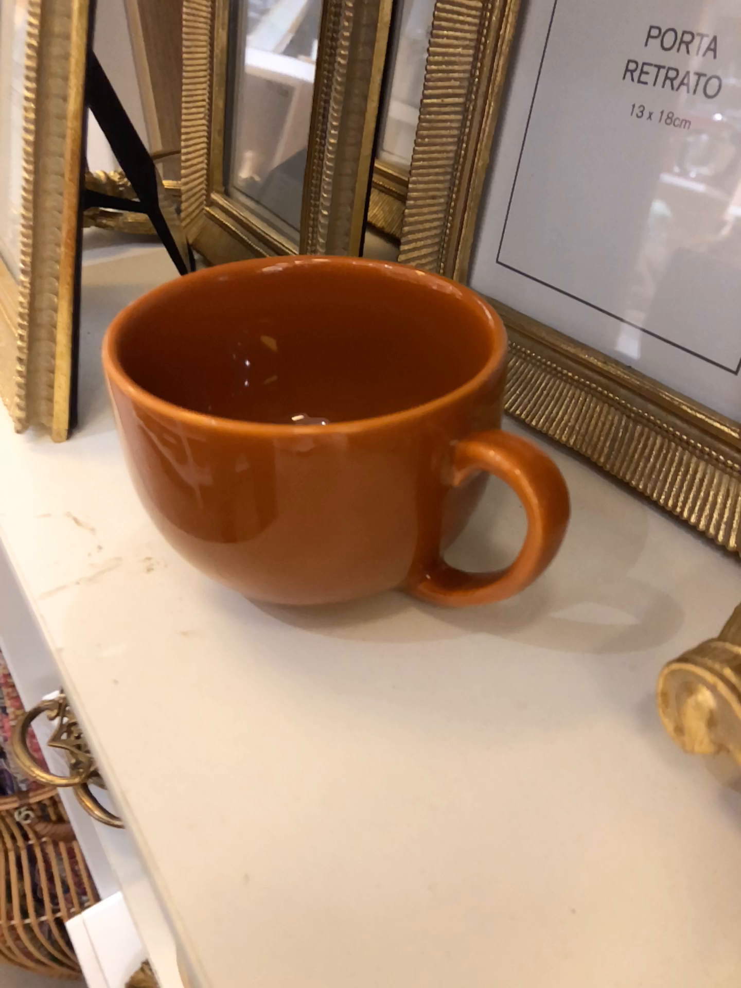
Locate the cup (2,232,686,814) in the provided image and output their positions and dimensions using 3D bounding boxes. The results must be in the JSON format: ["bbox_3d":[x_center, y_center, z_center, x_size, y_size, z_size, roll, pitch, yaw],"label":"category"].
[{"bbox_3d":[-0.008,-0.008,0.197,0.120,0.059,0.090,28,46,34],"label":"cup"}]
